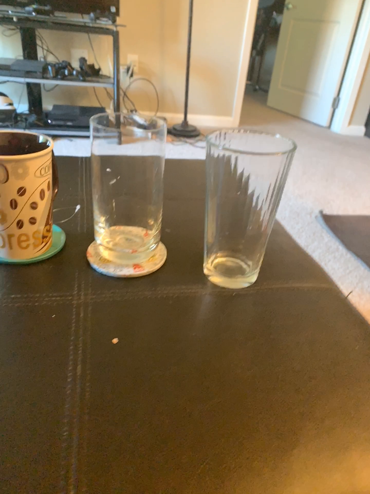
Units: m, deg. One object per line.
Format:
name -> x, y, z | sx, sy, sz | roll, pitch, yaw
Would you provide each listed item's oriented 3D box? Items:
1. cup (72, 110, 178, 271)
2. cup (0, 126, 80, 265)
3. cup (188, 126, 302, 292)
cup -> -0.056, -0.057, 0.381 | 0.080, 0.129, 0.080 | 4, 30, -3
cup -> -0.170, -0.055, 0.385 | 0.090, 0.099, 0.091 | 4, 30, -3
cup -> 0.050, -0.038, 0.384 | 0.080, 0.139, 0.080 | 4, 30, -3
